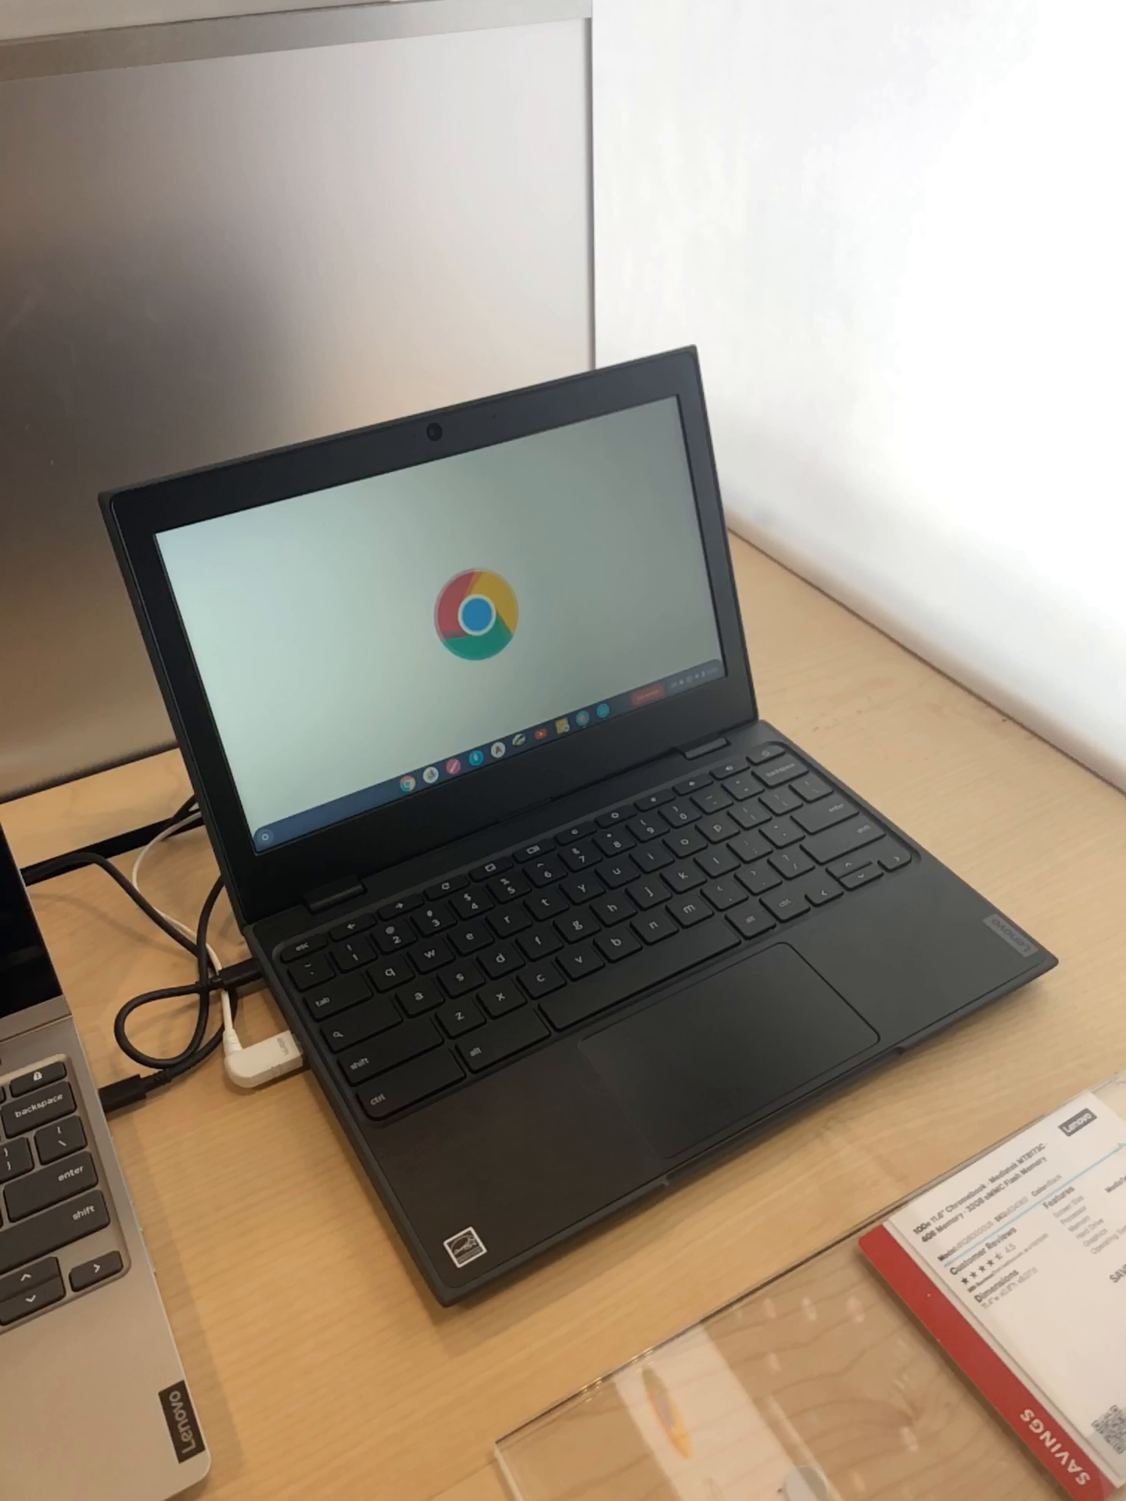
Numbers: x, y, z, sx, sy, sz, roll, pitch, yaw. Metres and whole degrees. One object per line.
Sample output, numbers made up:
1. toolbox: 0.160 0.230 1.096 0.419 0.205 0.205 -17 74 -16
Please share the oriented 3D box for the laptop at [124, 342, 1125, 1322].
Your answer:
1. laptop: 0.013 -0.006 0.503 0.282 0.178 0.271 -21 41 -23
